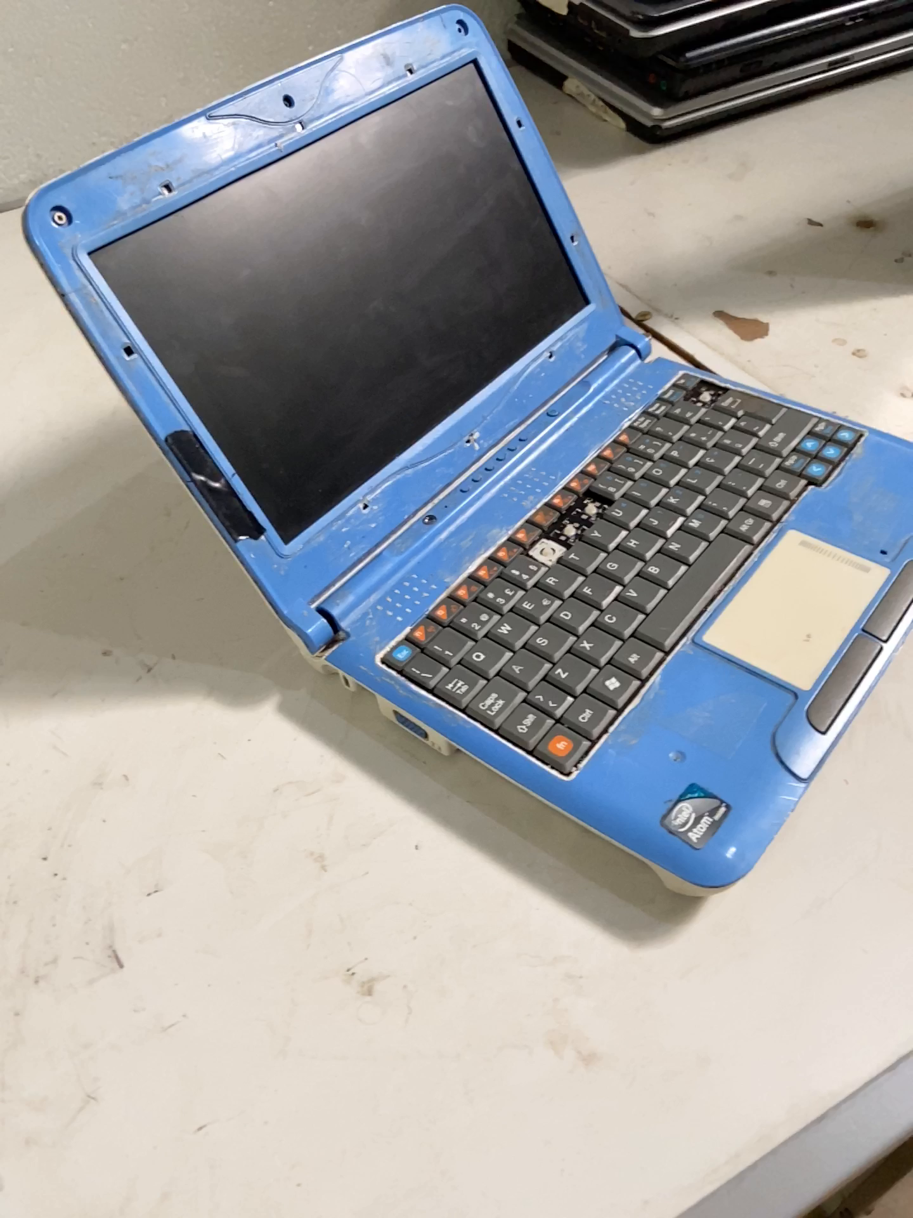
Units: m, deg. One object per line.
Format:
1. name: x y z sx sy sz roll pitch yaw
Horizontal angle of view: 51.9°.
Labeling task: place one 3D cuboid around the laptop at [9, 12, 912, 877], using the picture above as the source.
1. laptop: 0.043 -0.097 0.368 0.287 0.149 0.241 28 56 27
